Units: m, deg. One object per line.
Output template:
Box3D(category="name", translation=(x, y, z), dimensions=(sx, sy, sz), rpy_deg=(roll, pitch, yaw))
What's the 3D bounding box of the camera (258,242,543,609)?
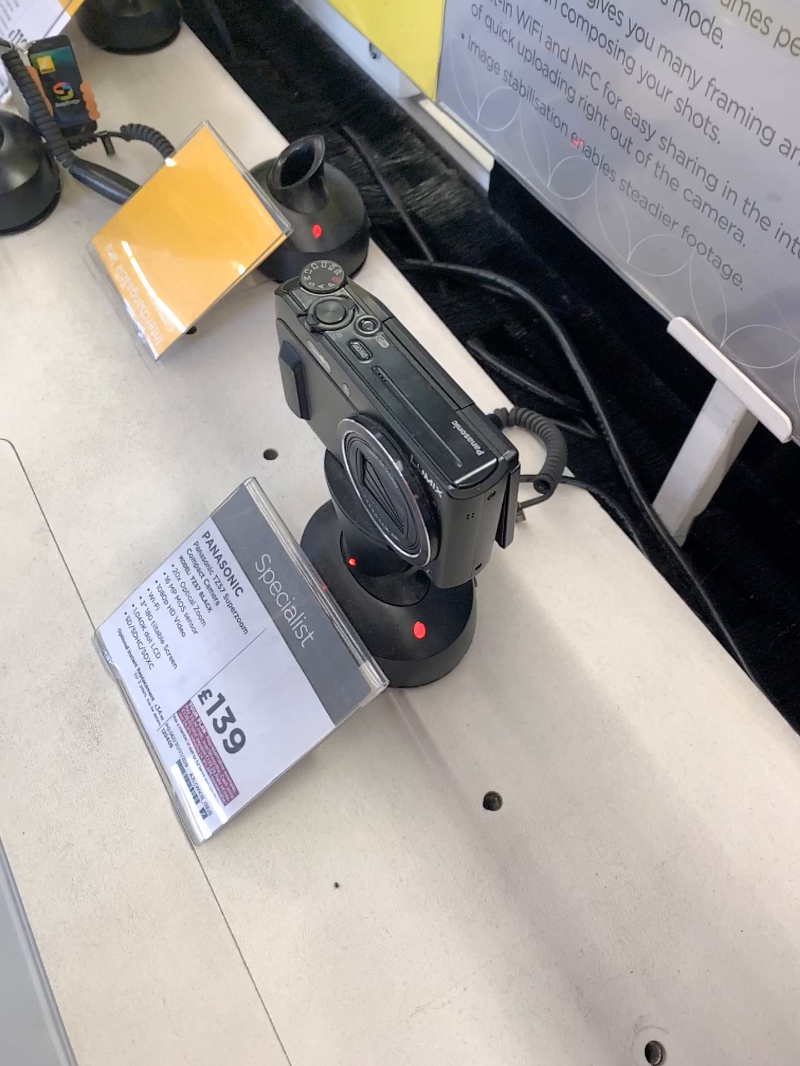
Box3D(category="camera", translation=(-0.003, -0.037, 0.277), dimensions=(0.030, 0.060, 0.111), rpy_deg=(-30, 63, -17))
